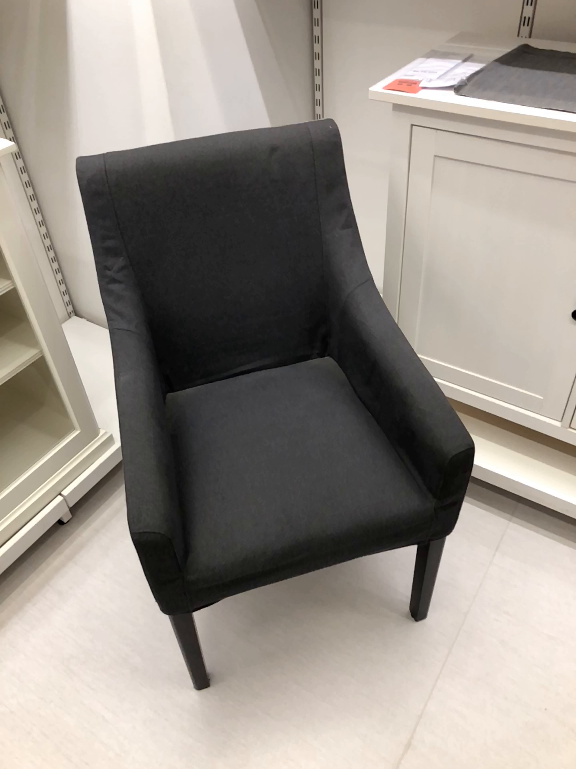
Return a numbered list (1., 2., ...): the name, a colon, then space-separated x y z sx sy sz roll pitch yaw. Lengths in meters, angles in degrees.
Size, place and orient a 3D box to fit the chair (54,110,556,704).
1. chair: -0.019 0.052 1.258 0.610 0.884 0.624 -12 42 -9
